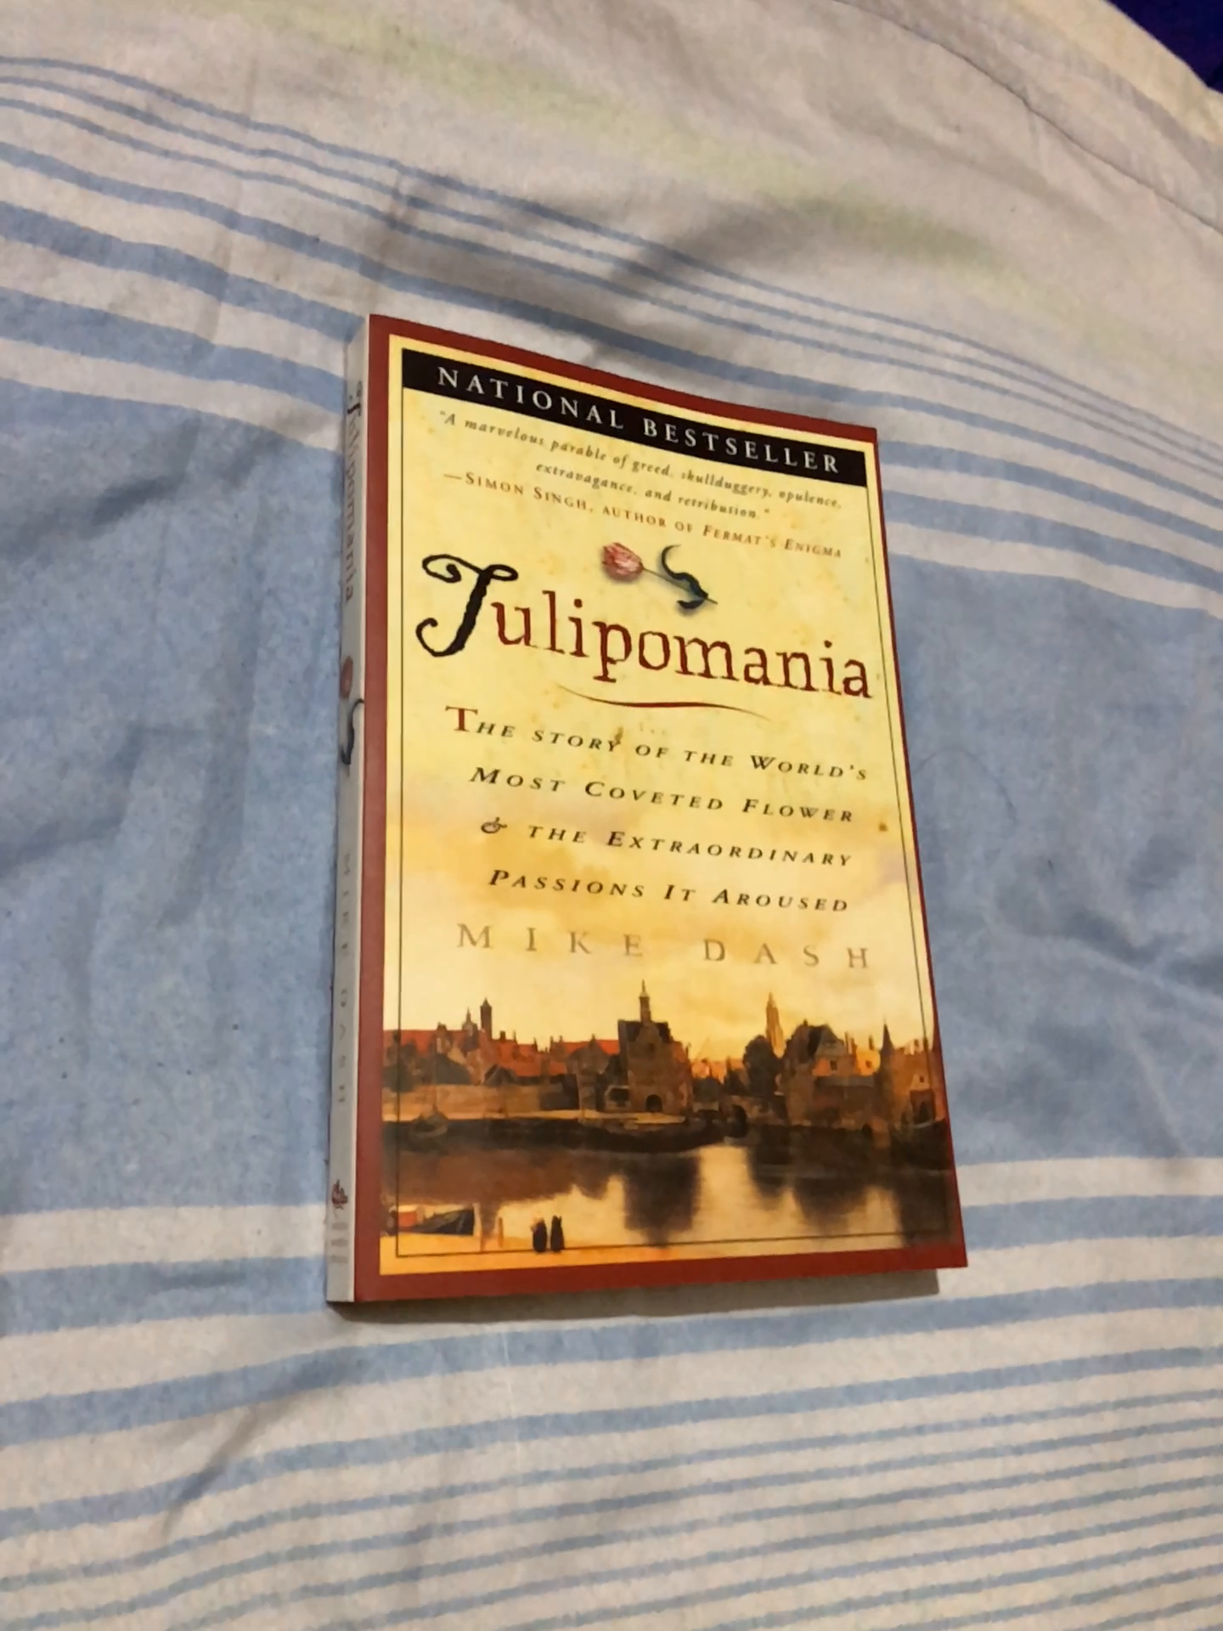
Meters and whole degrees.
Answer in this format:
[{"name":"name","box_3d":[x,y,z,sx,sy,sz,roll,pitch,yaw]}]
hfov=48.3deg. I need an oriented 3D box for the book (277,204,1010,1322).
[{"name":"book","box_3d":[0.002,-0.012,0.312,0.141,0.050,0.230,6,69,-25]}]
